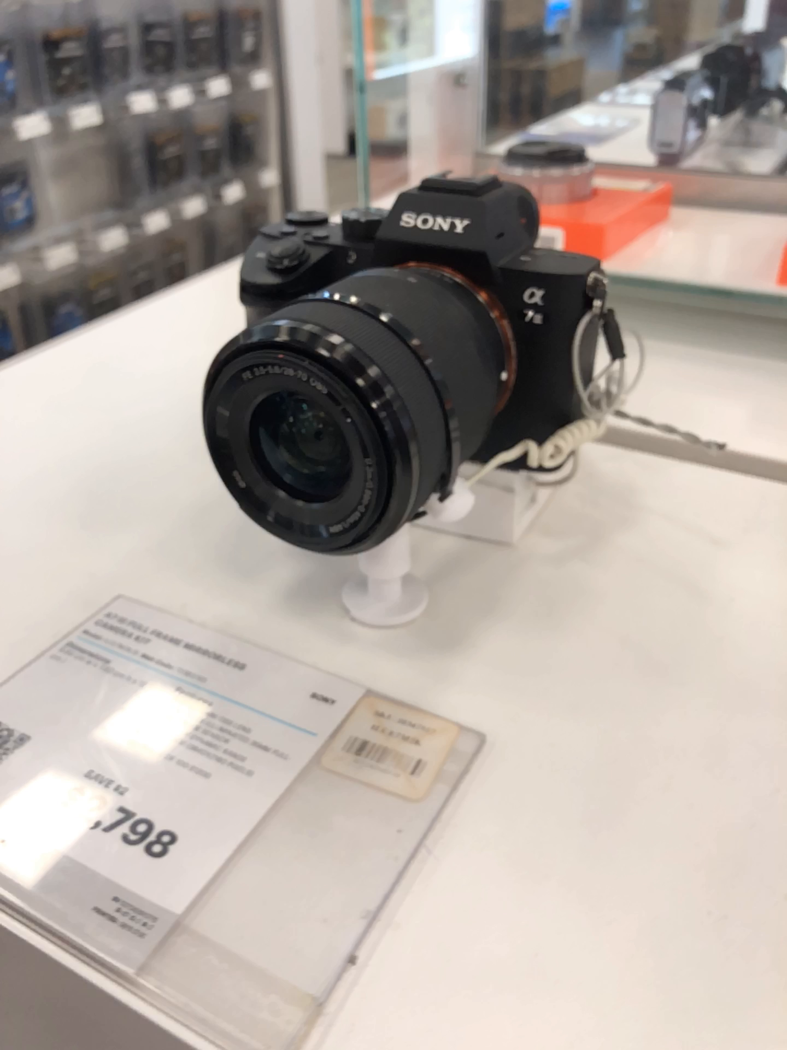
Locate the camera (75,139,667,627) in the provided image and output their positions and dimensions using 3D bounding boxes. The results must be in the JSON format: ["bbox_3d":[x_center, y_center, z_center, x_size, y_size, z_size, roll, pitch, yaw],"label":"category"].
[{"bbox_3d":[0.004,-0.067,0.317,0.130,0.100,0.160,15,36,25],"label":"camera"}]
